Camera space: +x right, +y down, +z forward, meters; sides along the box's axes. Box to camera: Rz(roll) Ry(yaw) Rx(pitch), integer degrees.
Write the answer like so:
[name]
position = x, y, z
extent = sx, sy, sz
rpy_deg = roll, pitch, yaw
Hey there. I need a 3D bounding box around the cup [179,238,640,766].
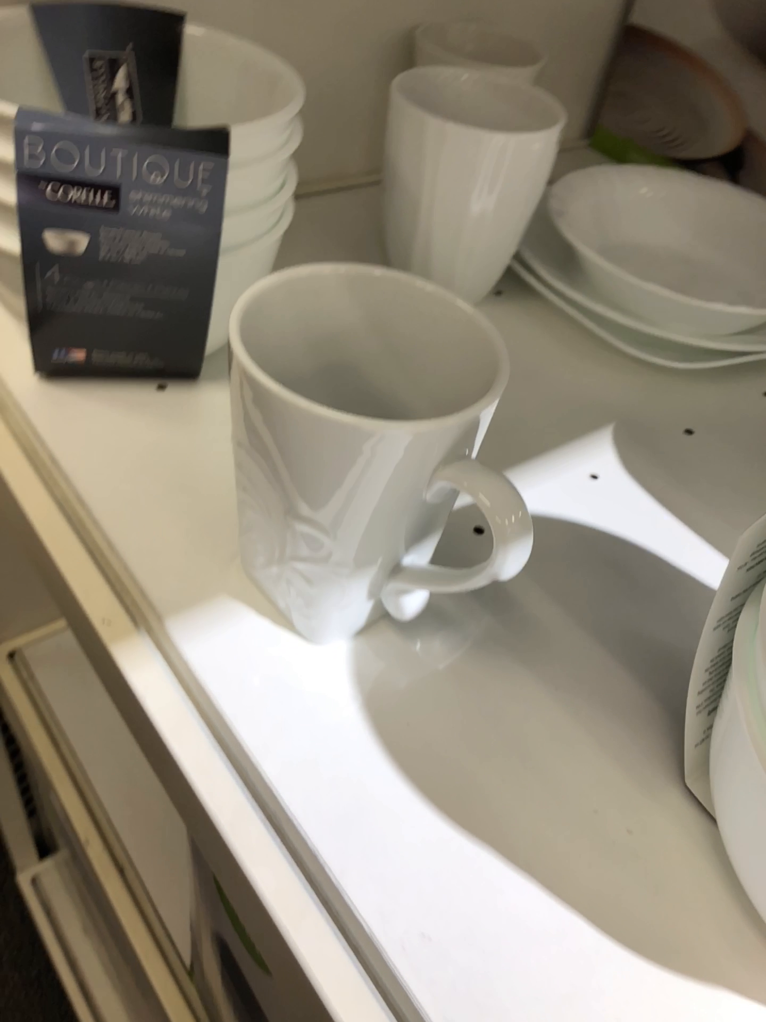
[cup]
position = -0.002, -0.007, 0.292
extent = 0.086, 0.113, 0.115
rpy_deg = -23, 53, -30
